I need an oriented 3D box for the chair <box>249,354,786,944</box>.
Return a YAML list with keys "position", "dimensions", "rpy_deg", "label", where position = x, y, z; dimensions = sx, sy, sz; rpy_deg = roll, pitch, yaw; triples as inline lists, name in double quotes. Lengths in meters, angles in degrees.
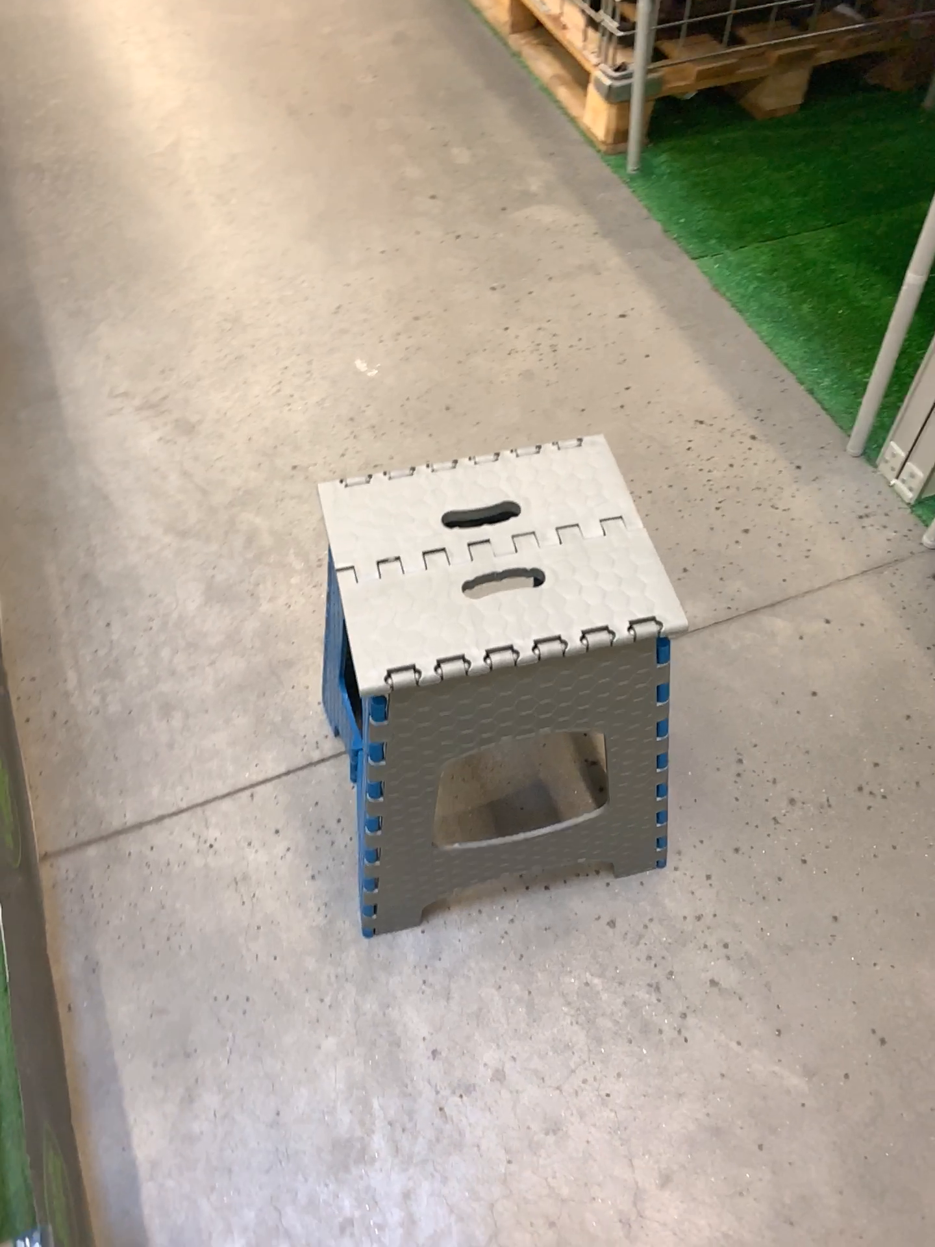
- position: [0.019, 0.041, 0.929]
  dimensions: [0.350, 0.419, 0.341]
  rpy_deg: [-11, 56, -8]
  label: "chair"
